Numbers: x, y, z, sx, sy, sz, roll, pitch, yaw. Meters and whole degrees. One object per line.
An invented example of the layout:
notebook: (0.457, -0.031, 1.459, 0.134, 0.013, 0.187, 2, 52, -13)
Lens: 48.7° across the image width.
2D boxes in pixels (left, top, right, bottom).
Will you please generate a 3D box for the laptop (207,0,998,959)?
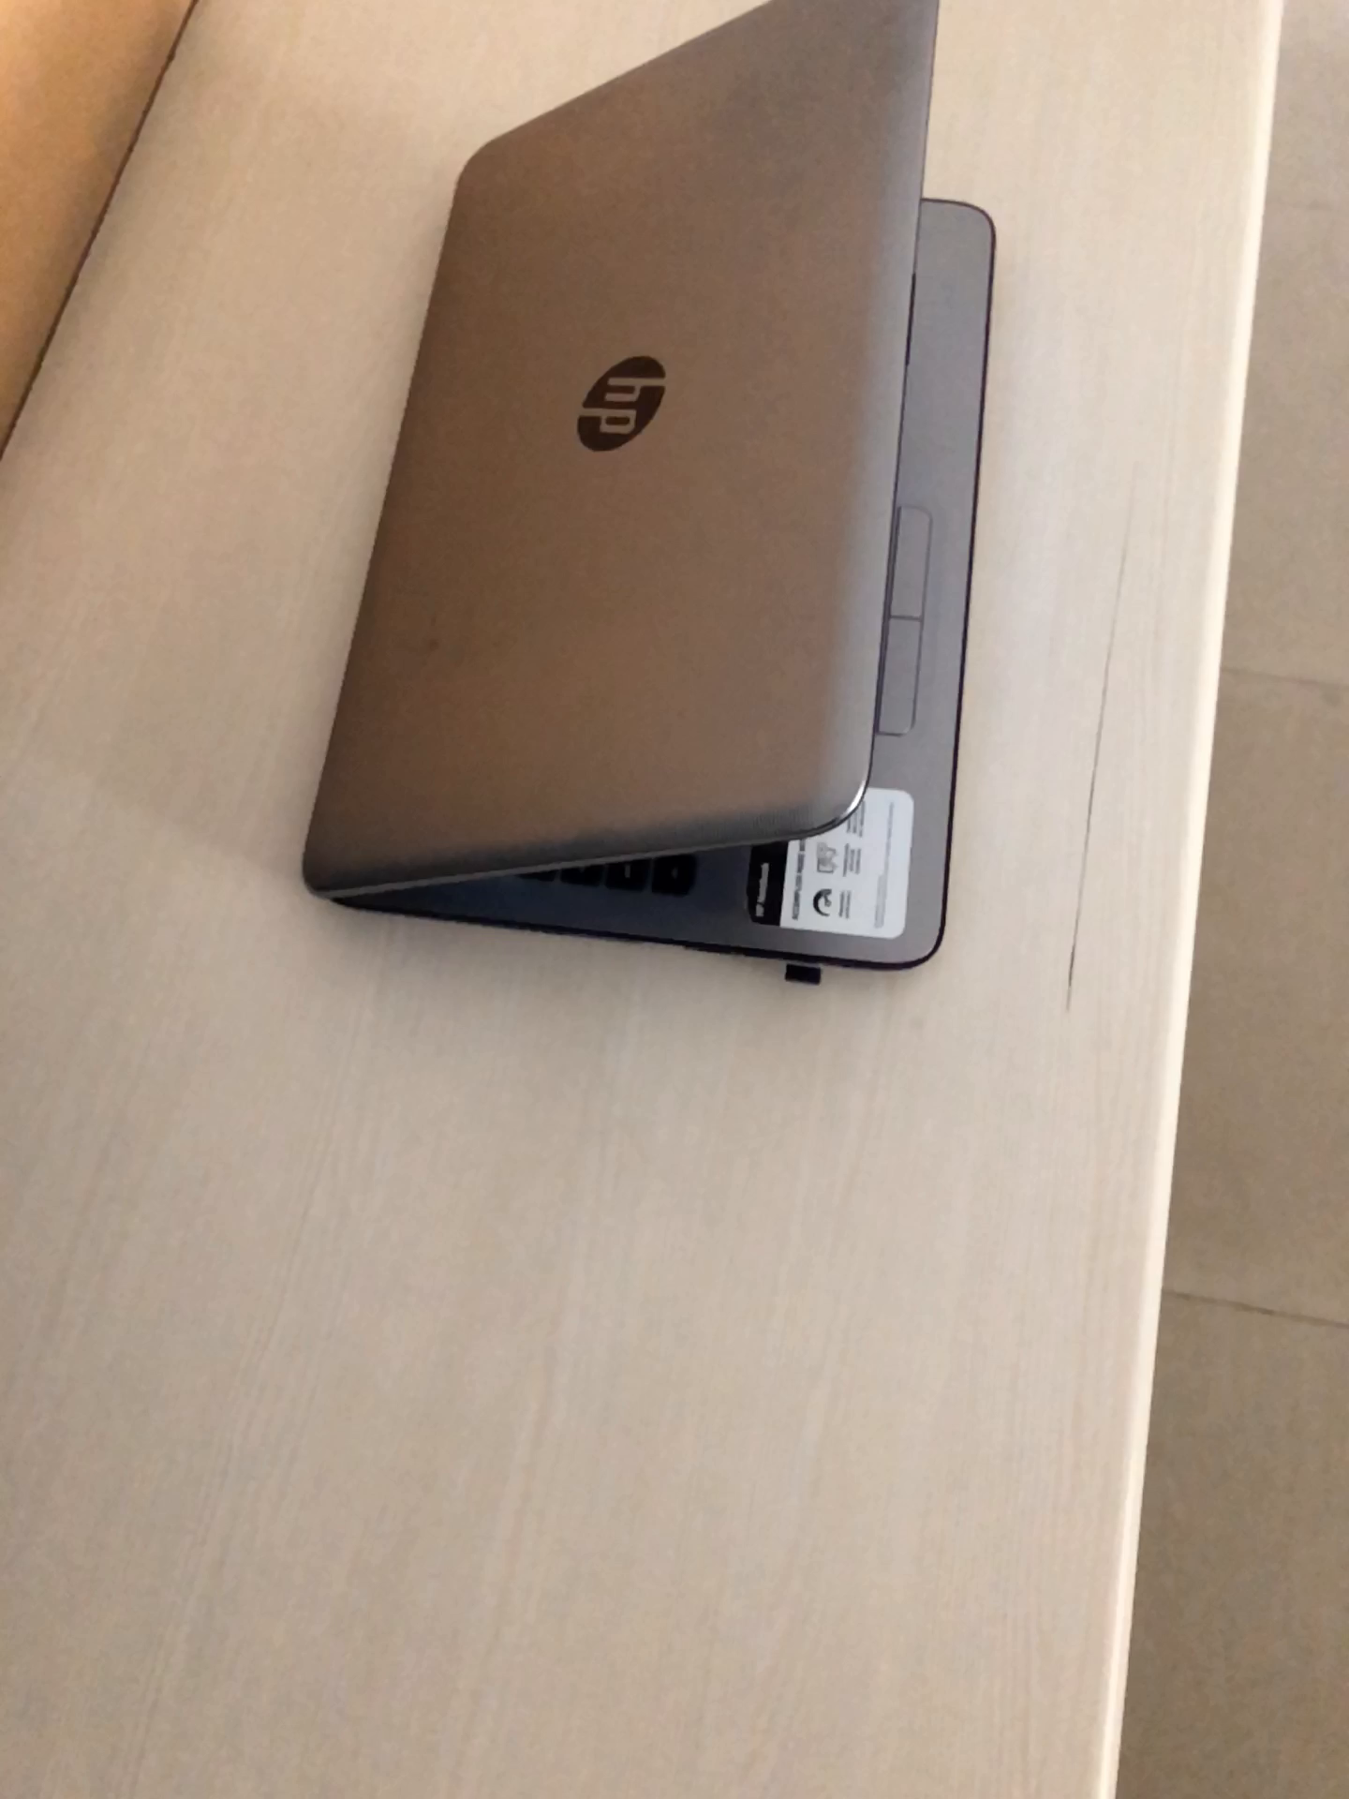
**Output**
laptop: (-0.006, -0.183, 0.584, 0.238, 0.133, 0.364, 5, 68, 5)
